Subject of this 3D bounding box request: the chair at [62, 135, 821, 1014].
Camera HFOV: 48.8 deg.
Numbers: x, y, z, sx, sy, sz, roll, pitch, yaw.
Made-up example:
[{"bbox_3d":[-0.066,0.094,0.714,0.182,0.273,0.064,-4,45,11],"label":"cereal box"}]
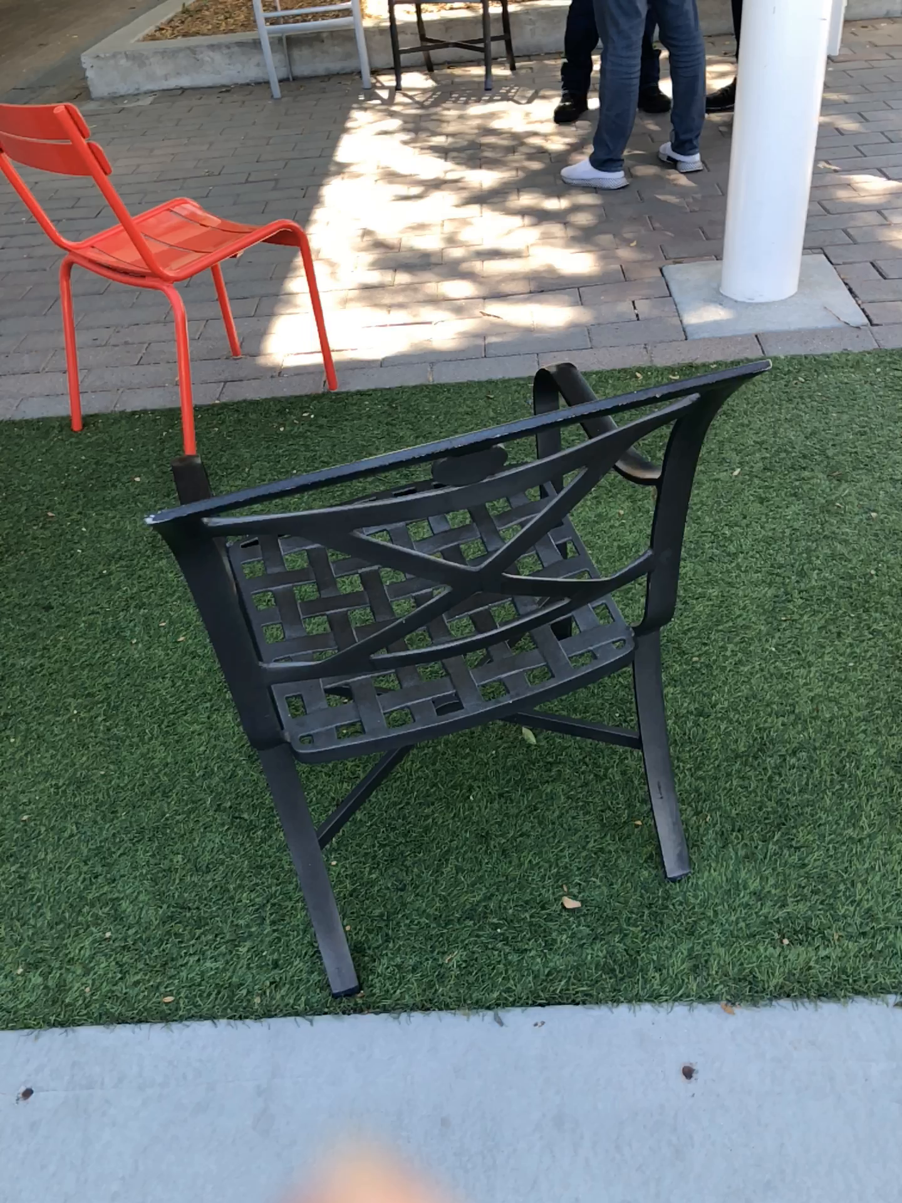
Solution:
[{"bbox_3d":[-0.046,-0.051,1.315,0.640,0.806,0.644,-15,42,-11],"label":"chair"}]
